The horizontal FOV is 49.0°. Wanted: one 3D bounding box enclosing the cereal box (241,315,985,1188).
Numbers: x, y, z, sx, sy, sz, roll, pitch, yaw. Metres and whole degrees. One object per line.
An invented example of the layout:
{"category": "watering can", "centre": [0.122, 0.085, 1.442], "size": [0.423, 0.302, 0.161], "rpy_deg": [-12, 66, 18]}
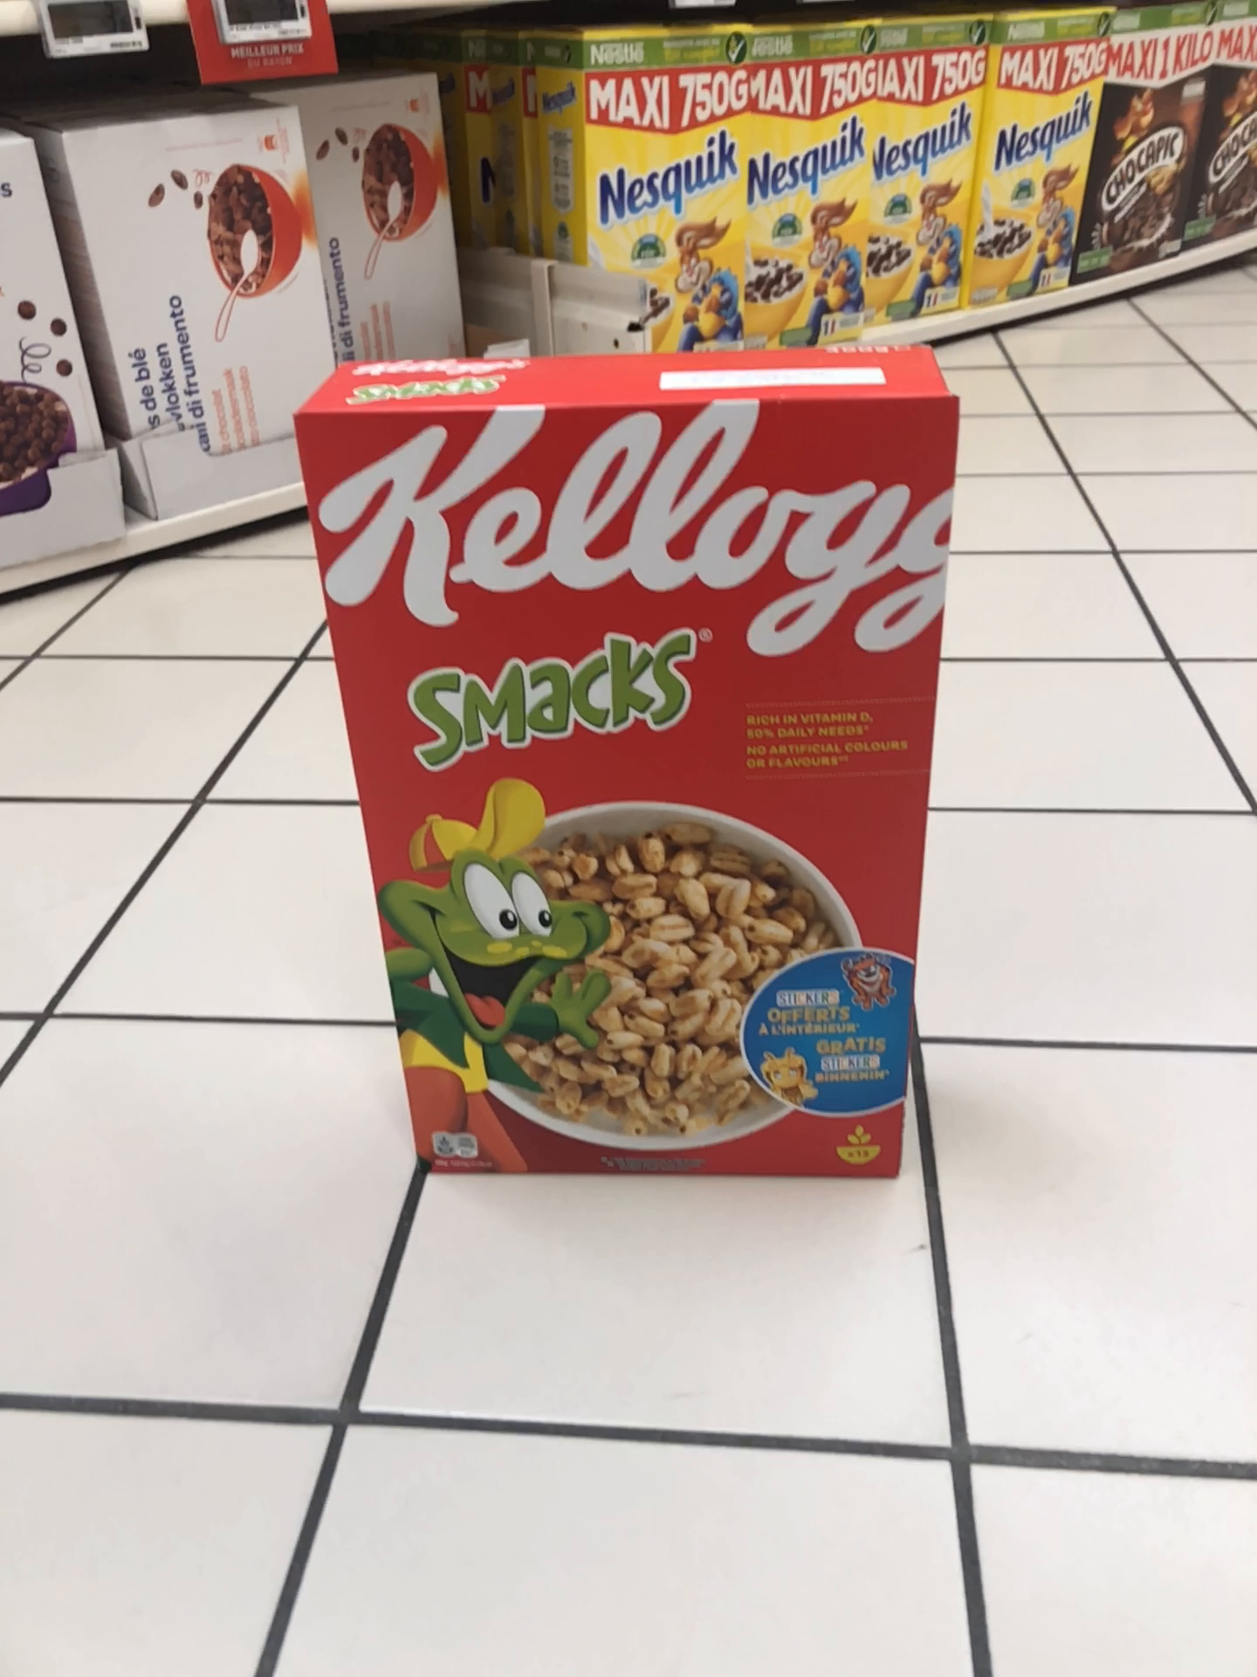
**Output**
{"category": "cereal box", "centre": [0.003, -0.015, 0.483], "size": [0.200, 0.298, 0.081], "rpy_deg": [-1, 32, 4]}
